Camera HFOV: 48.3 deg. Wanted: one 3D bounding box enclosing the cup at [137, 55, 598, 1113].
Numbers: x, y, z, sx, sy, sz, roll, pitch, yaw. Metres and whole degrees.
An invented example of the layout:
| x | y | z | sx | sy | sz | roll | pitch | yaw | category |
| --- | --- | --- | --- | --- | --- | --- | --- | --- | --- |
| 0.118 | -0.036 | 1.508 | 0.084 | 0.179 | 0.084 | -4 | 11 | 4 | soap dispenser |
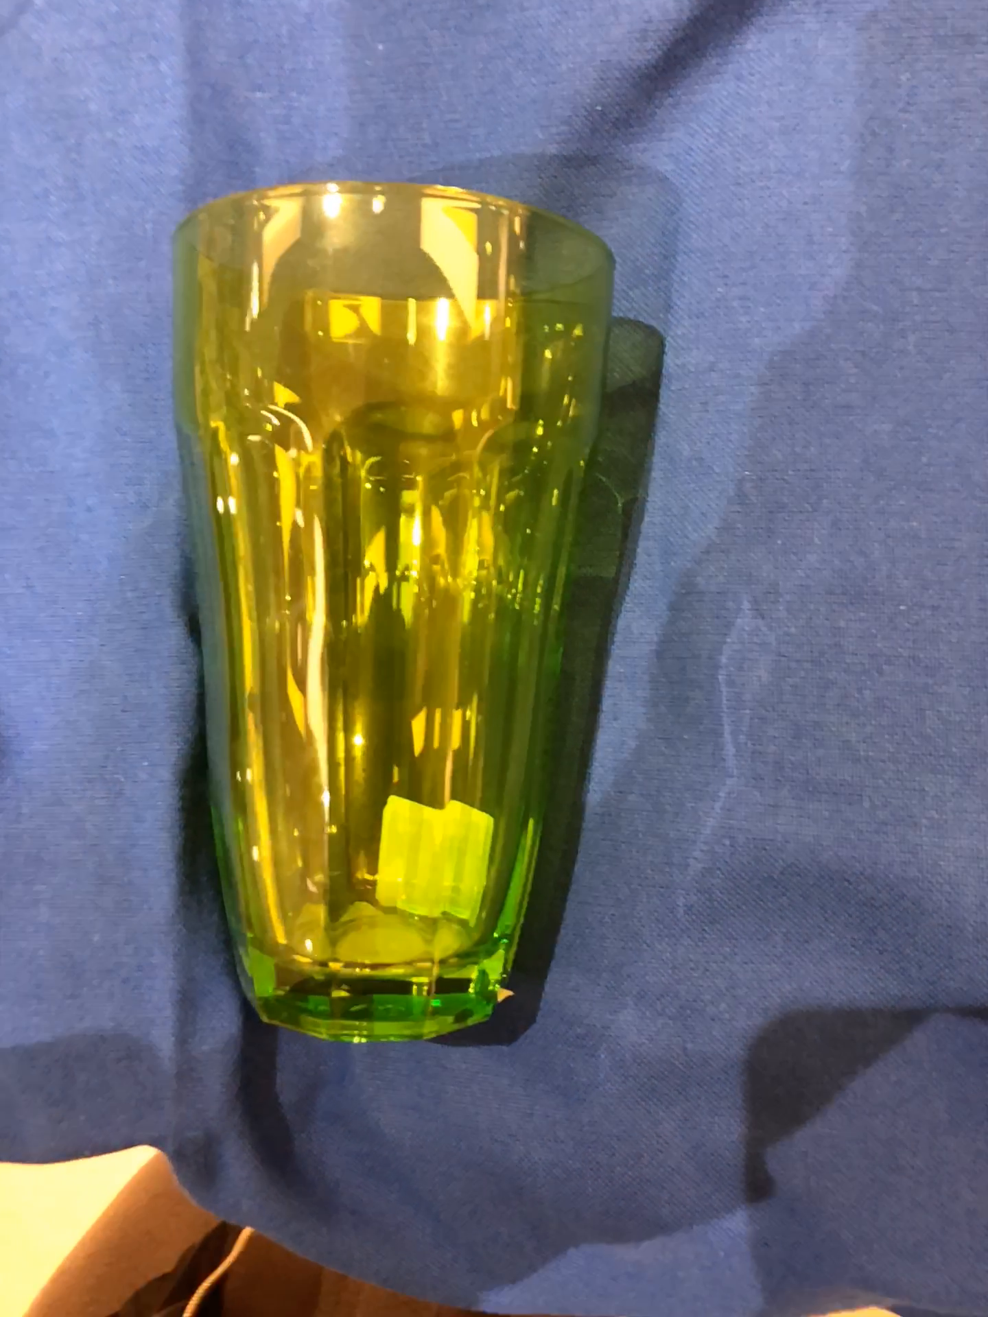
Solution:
| x | y | z | sx | sy | sz | roll | pitch | yaw | category |
| --- | --- | --- | --- | --- | --- | --- | --- | --- | --- |
| -0.017 | -0.012 | 0.205 | 0.070 | 0.070 | 0.160 | 1 | 94 | 6 | cup |
